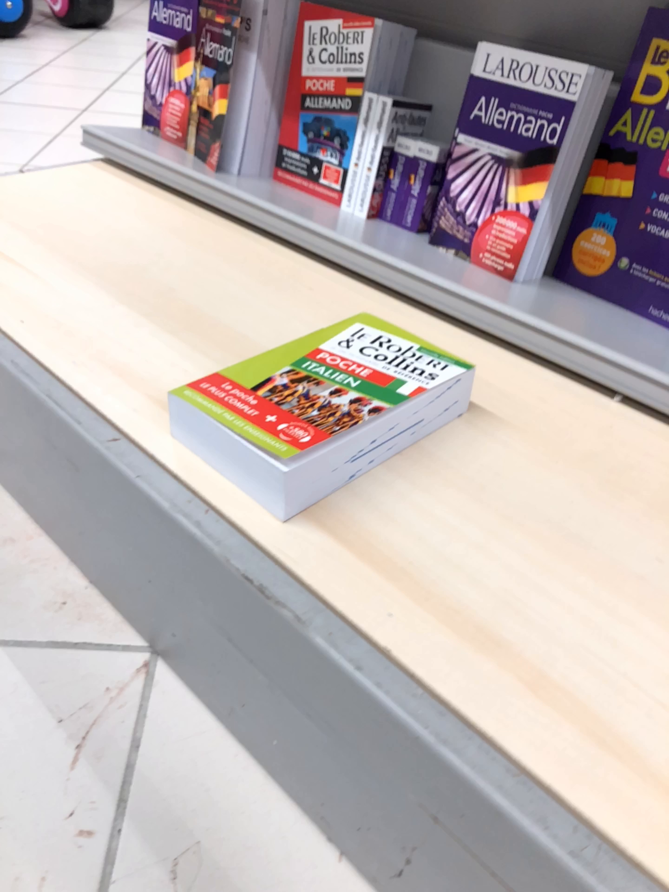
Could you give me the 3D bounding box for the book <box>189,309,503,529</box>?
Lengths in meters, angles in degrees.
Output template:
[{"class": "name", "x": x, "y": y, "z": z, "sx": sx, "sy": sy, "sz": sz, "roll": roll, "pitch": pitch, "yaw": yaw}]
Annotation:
[{"class": "book", "x": 0.011, "y": -0.028, "z": 0.482, "sx": 0.110, "sy": 0.040, "sz": 0.176, "roll": 33, "pitch": 44, "yaw": 32}]
